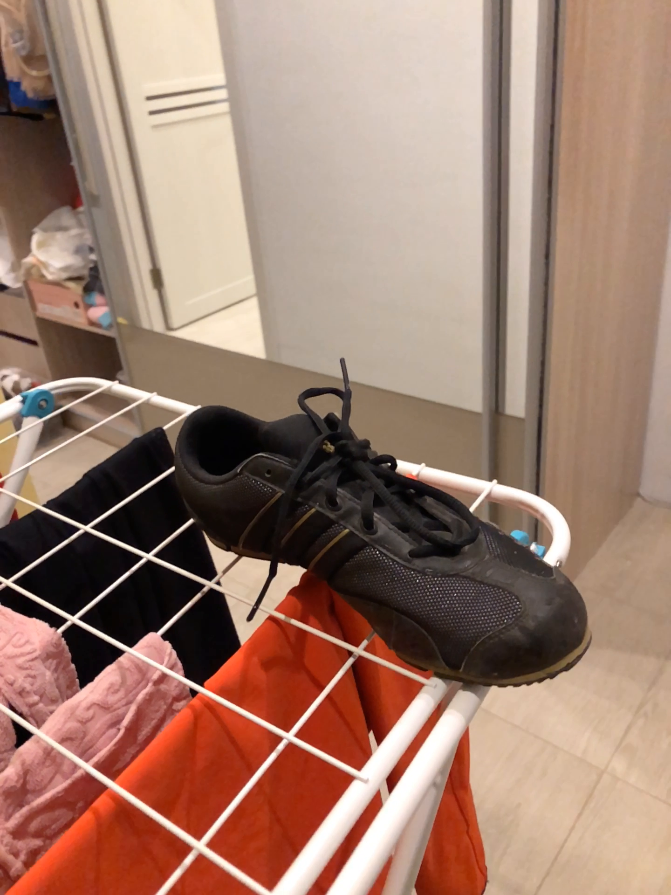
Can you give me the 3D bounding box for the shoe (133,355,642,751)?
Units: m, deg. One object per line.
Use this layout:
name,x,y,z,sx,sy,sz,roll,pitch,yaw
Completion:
shoe,0.015,0.035,0.409,0.261,0.099,0.099,19,37,38
